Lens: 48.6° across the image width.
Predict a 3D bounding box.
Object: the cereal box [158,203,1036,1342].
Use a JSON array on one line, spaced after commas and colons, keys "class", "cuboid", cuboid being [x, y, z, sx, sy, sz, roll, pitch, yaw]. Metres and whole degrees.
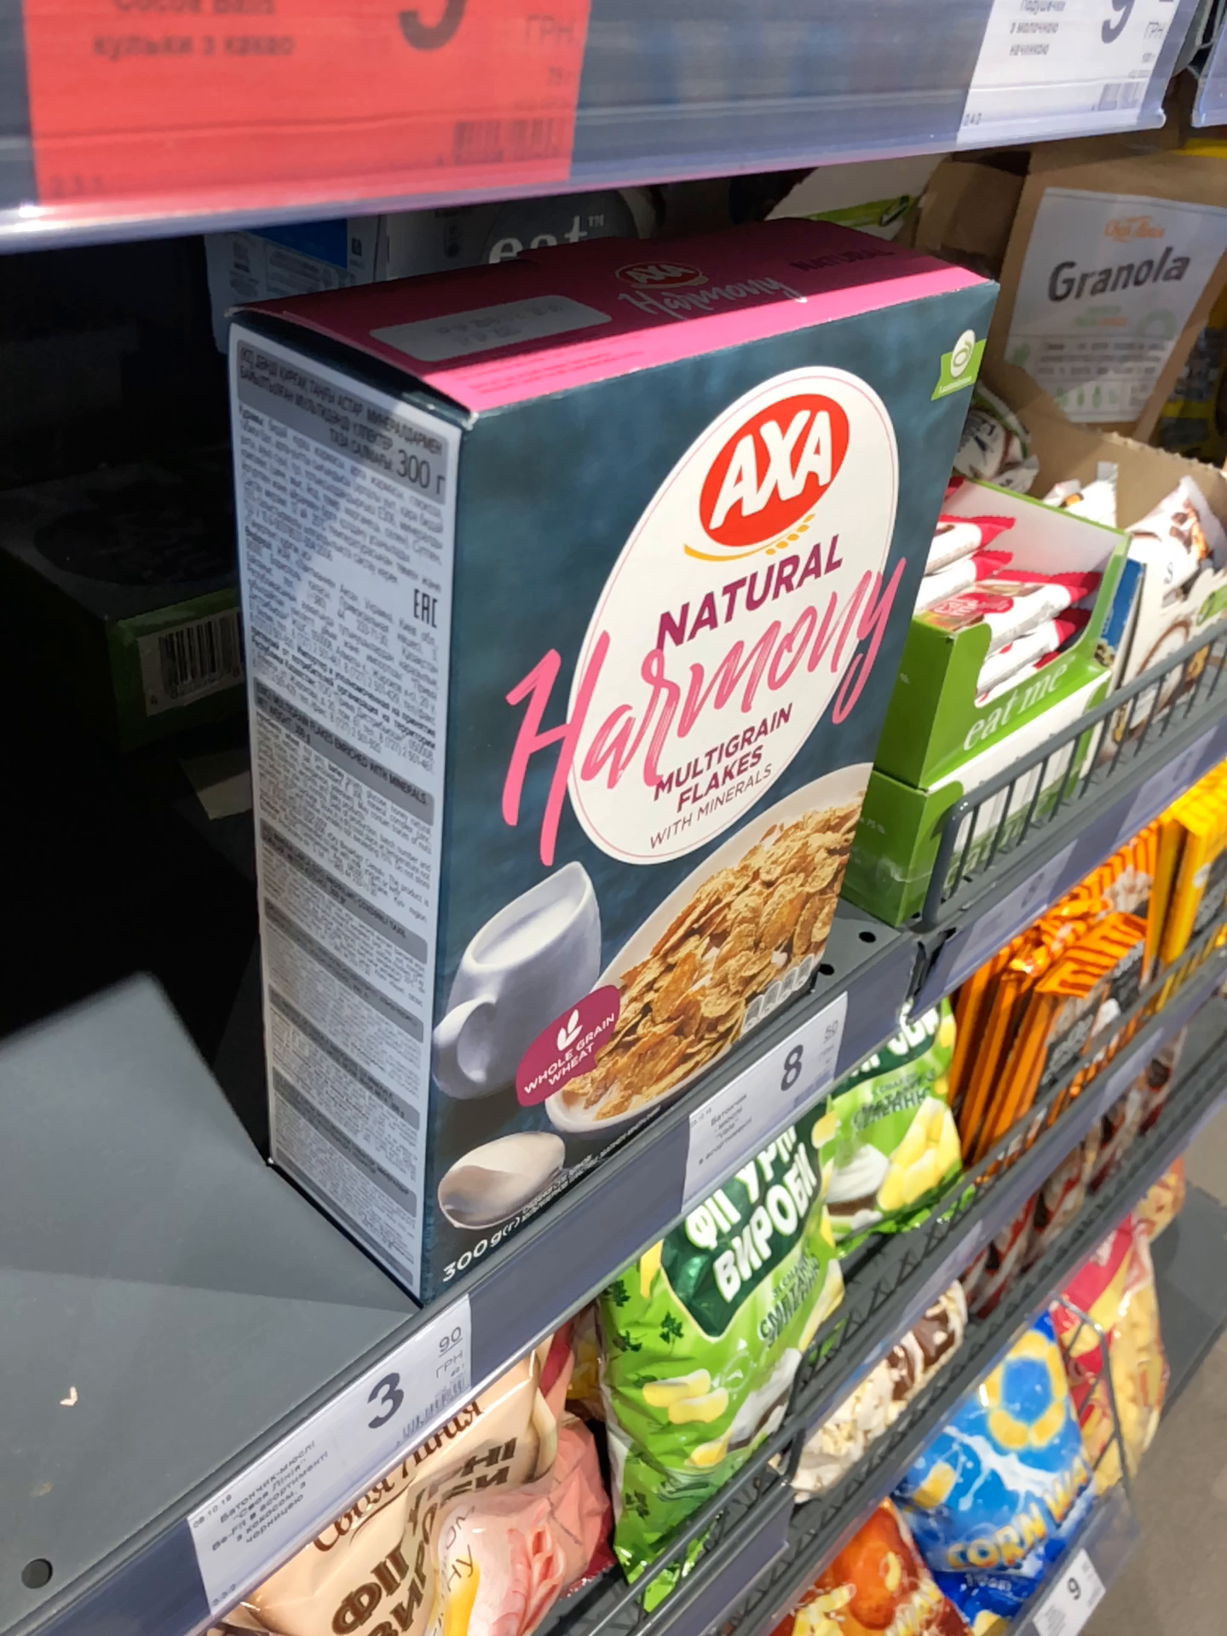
[{"class": "cereal box", "cuboid": [-0.002, -0.016, 0.331, 0.070, 0.218, 0.181, 31, 42, 29]}]
